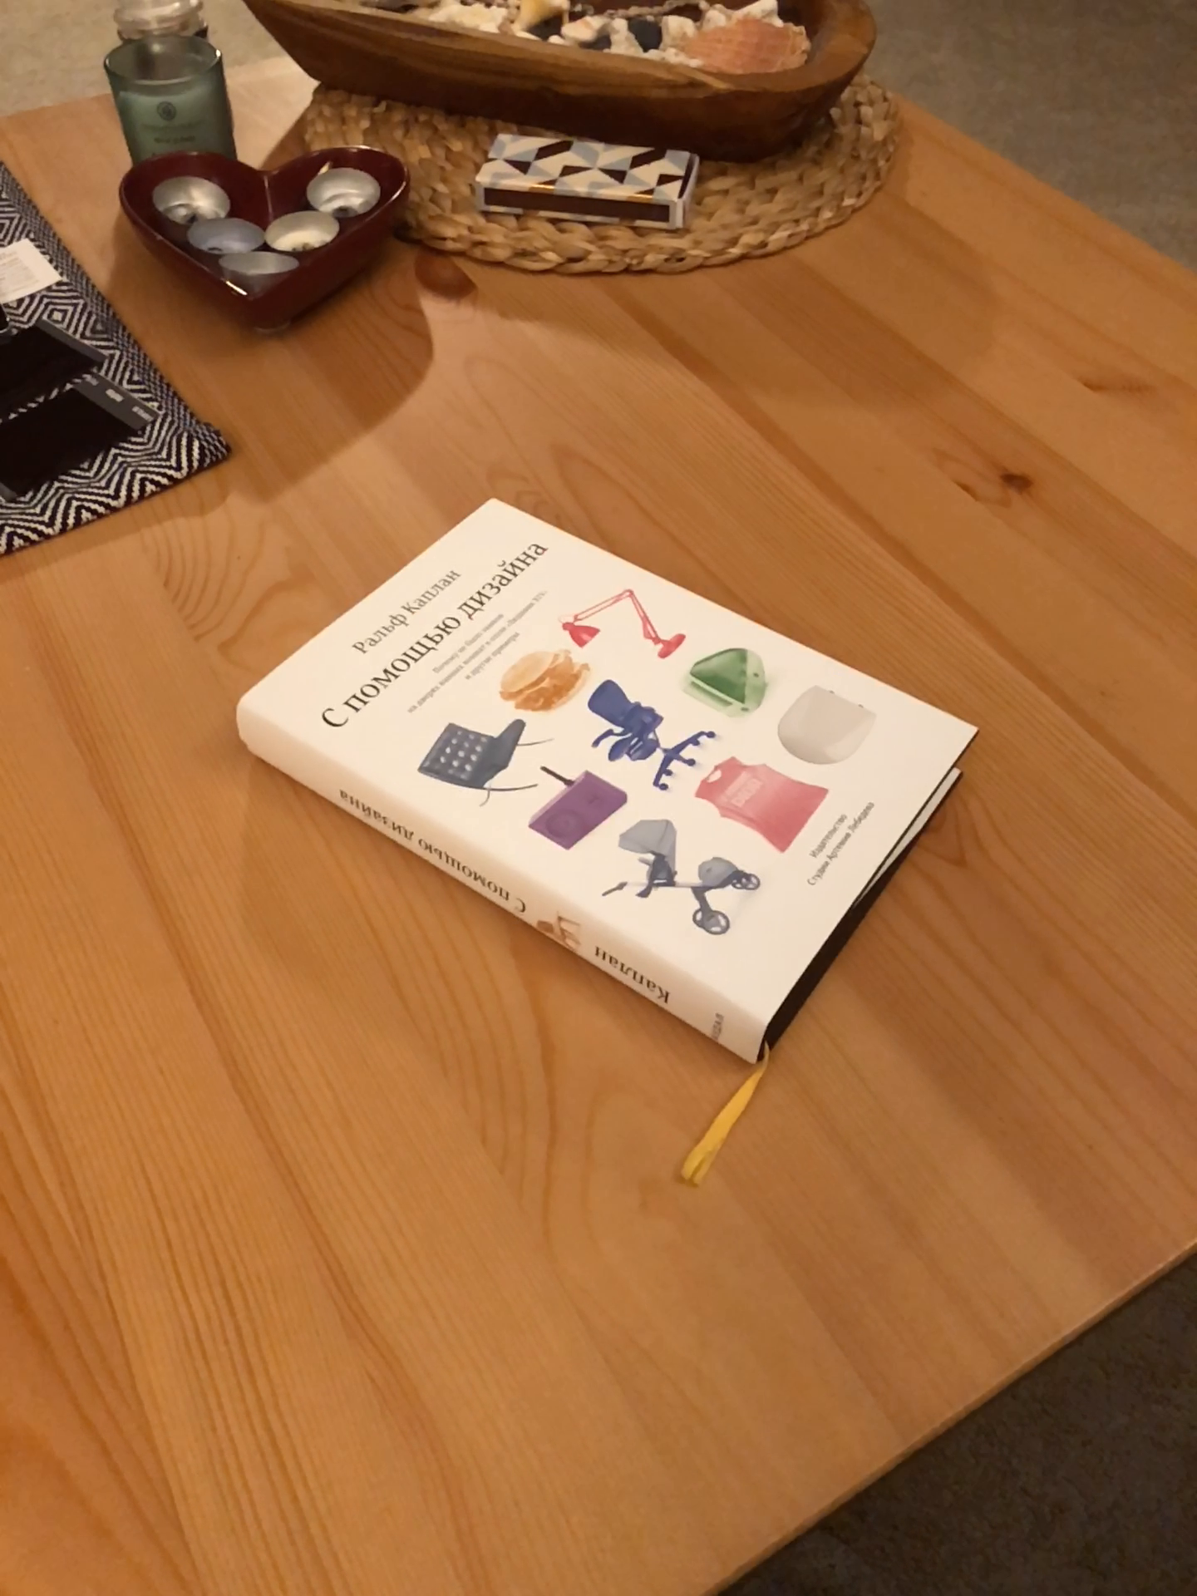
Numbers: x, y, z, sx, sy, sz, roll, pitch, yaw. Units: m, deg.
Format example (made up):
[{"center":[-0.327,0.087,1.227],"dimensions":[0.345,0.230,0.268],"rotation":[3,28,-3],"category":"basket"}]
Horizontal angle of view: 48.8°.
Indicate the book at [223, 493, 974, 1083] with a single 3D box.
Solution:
[{"center":[0.000,-0.019,0.491],"dimensions":[0.226,0.034,0.152],"rotation":[29,56,21],"category":"book"}]
